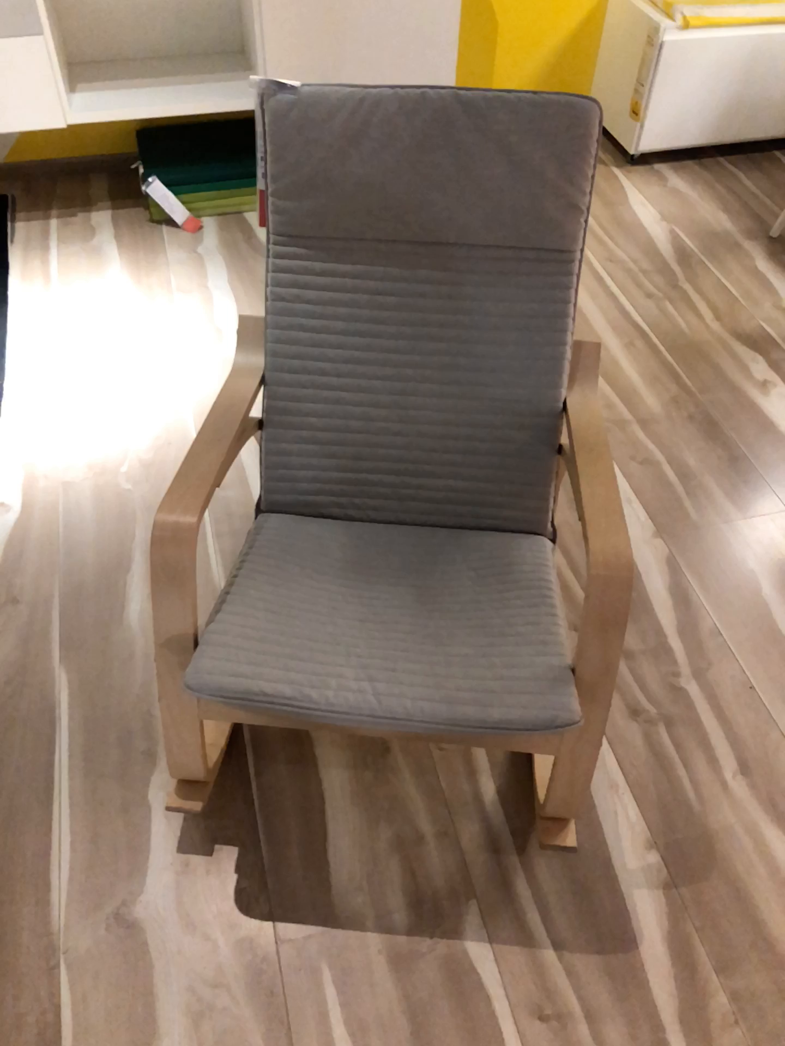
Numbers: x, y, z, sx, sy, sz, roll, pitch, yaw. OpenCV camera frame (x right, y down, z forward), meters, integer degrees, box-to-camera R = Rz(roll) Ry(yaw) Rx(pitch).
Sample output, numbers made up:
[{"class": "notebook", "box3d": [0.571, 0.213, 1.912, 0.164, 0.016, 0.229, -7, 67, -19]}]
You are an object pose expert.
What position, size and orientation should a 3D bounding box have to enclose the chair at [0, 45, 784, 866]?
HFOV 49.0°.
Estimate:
[{"class": "chair", "box3d": [0.012, -0.051, 1.283, 0.750, 0.944, 0.704, 4, 48, 2]}]
